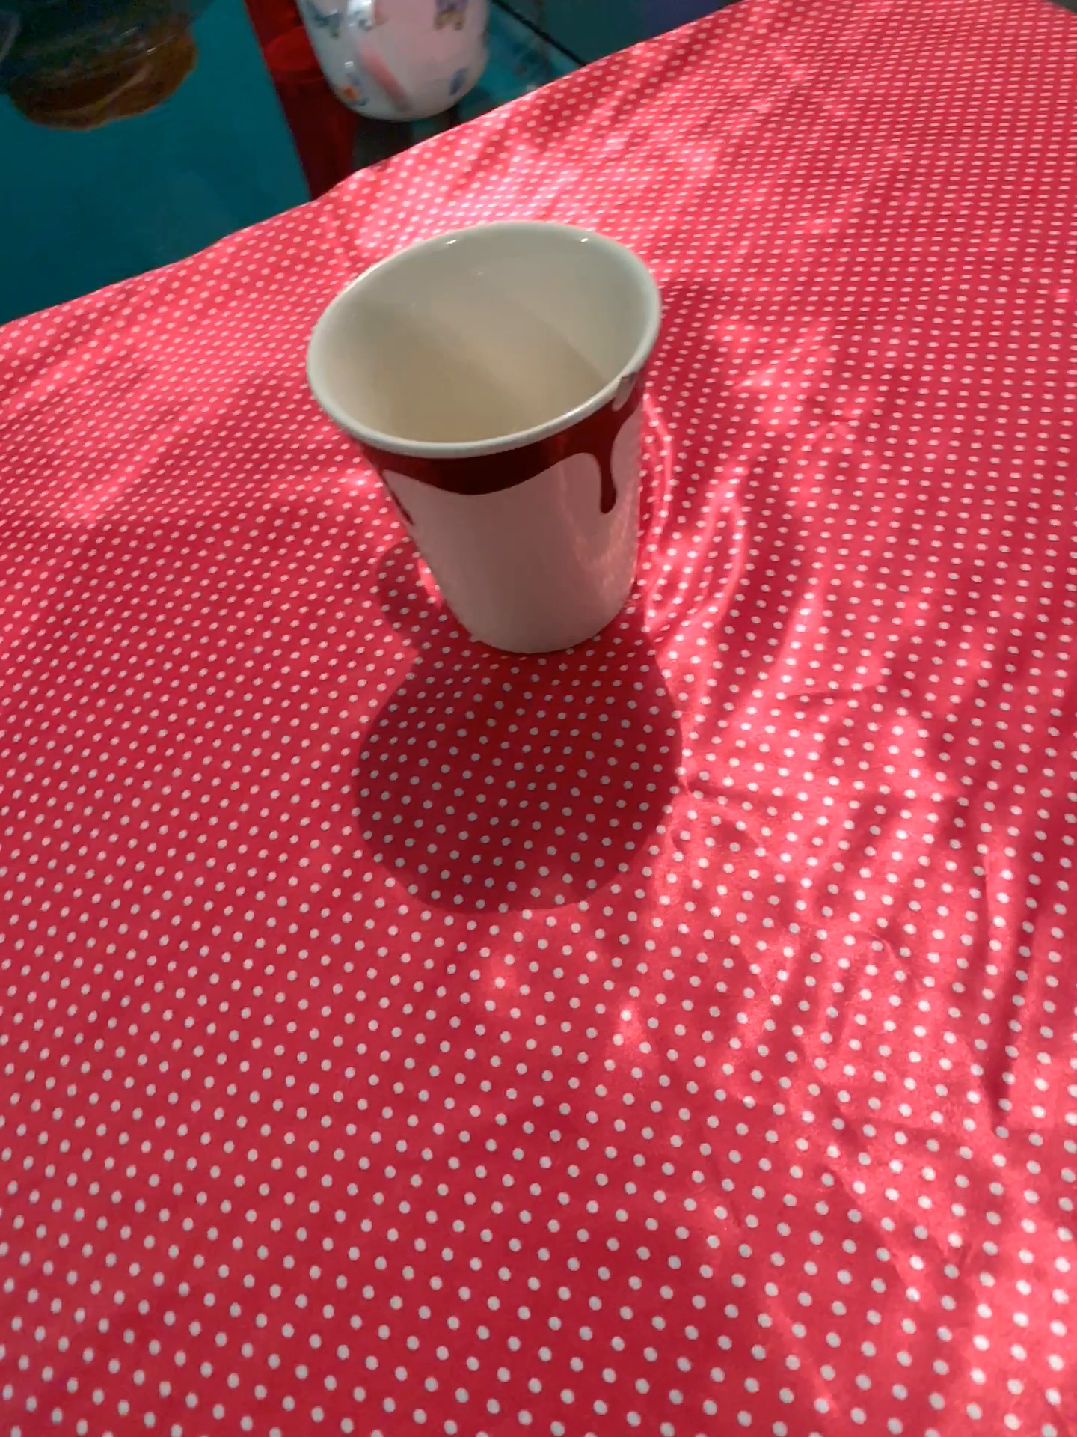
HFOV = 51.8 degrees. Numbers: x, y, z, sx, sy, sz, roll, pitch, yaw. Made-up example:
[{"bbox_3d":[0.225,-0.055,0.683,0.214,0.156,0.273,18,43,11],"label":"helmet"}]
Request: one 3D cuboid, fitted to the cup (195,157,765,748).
[{"bbox_3d":[-0.015,-0.084,0.336,0.100,0.090,0.130,-36,56,-14],"label":"cup"}]
